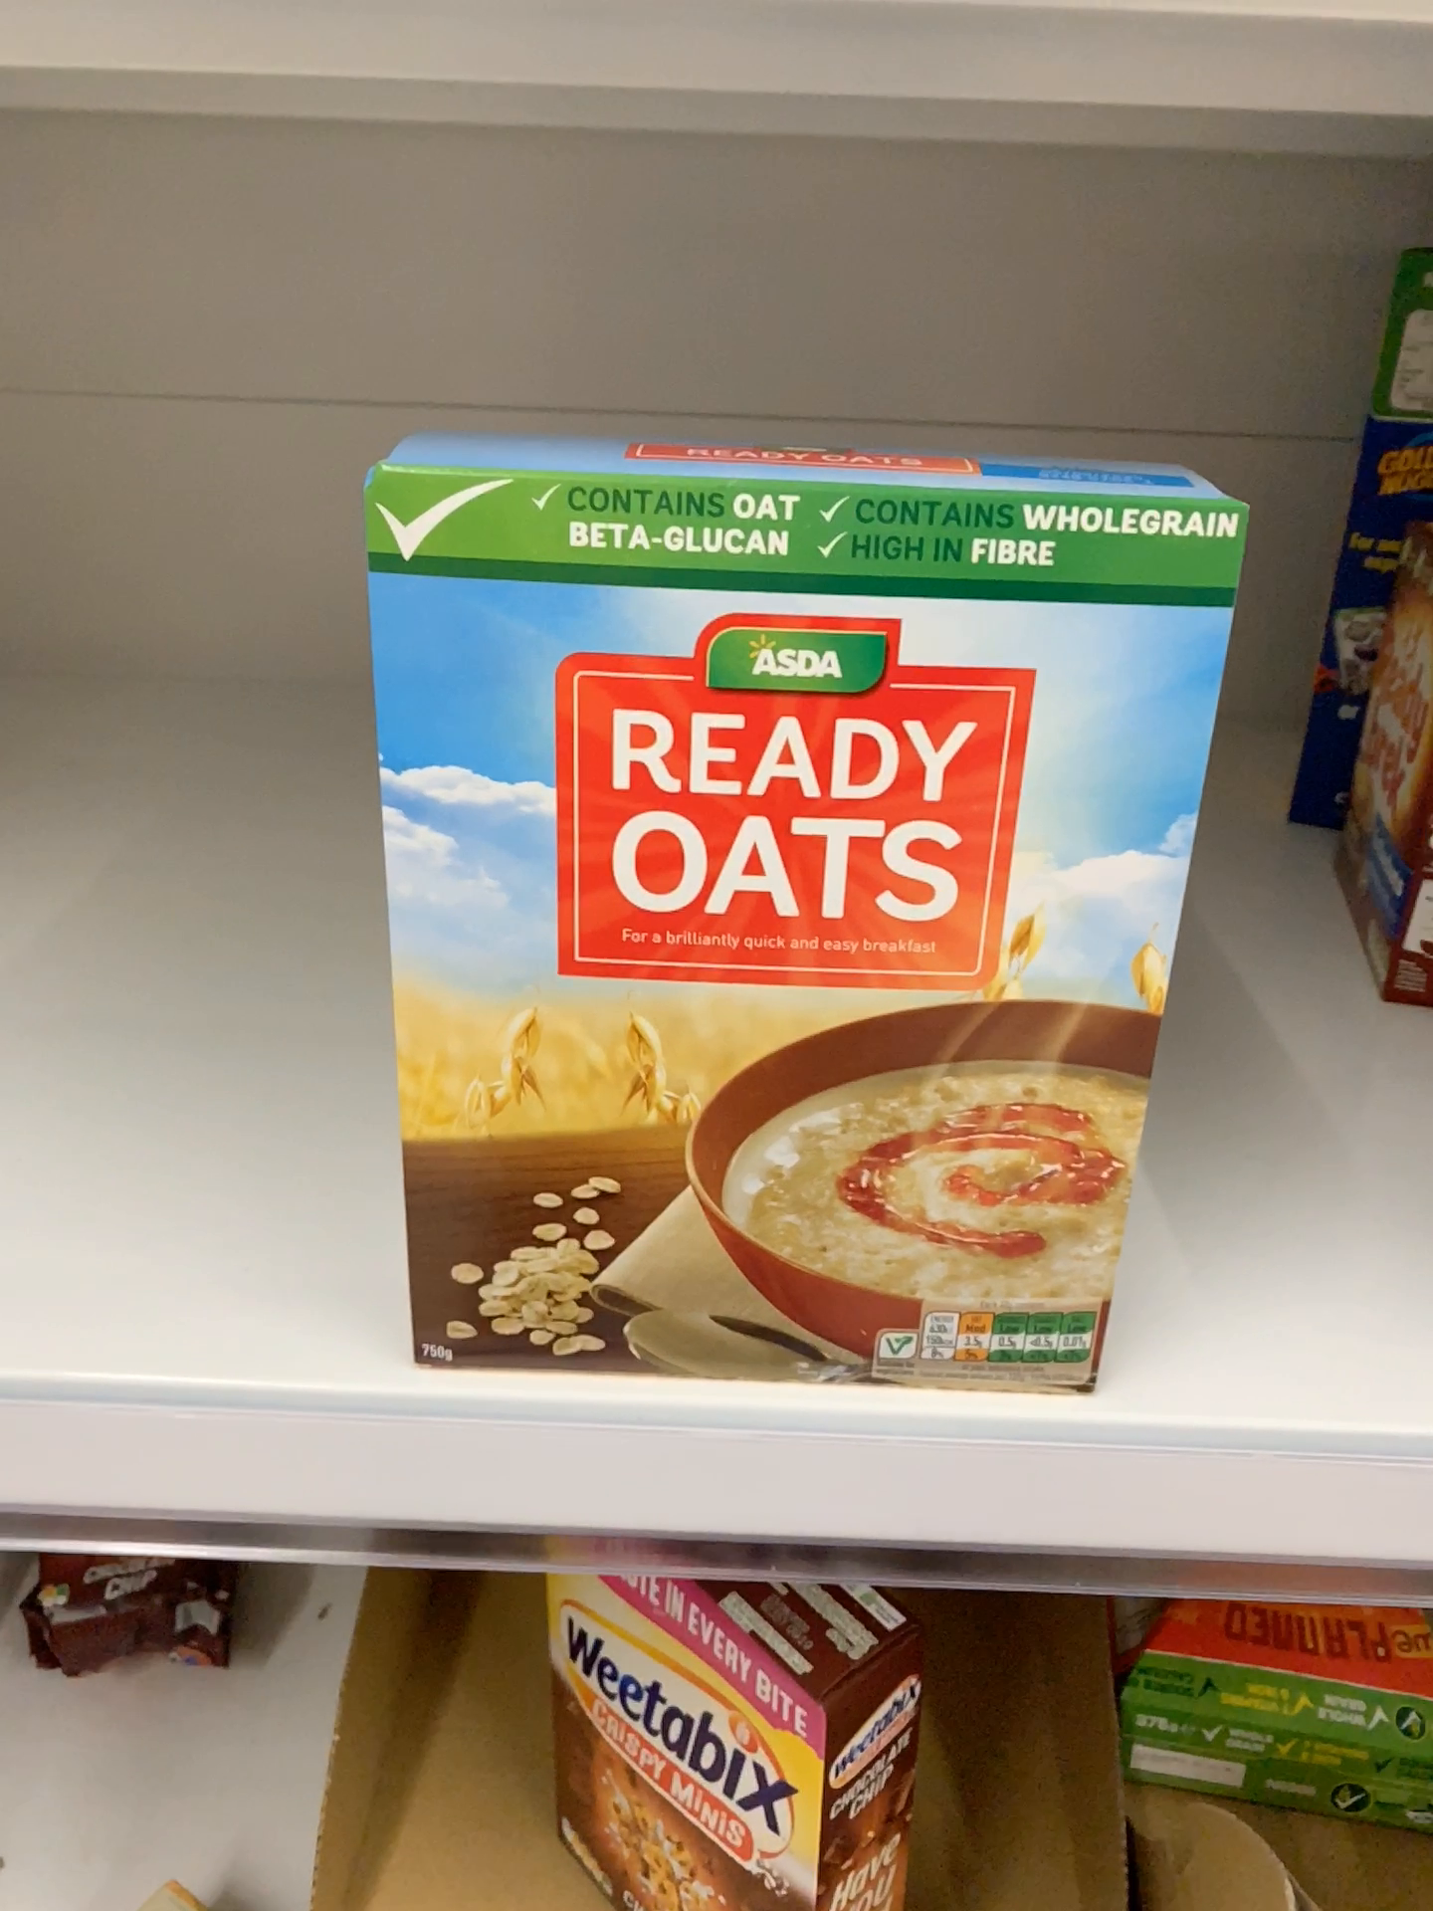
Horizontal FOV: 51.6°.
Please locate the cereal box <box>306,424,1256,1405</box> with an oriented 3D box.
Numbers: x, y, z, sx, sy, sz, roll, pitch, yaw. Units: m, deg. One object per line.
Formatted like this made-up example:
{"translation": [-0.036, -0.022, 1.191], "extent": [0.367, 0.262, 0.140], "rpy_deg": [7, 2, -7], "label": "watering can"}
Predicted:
{"translation": [0.010, -0.004, 0.413], "extent": [0.210, 0.258, 0.071], "rpy_deg": [2, 25, 0], "label": "cereal box"}
